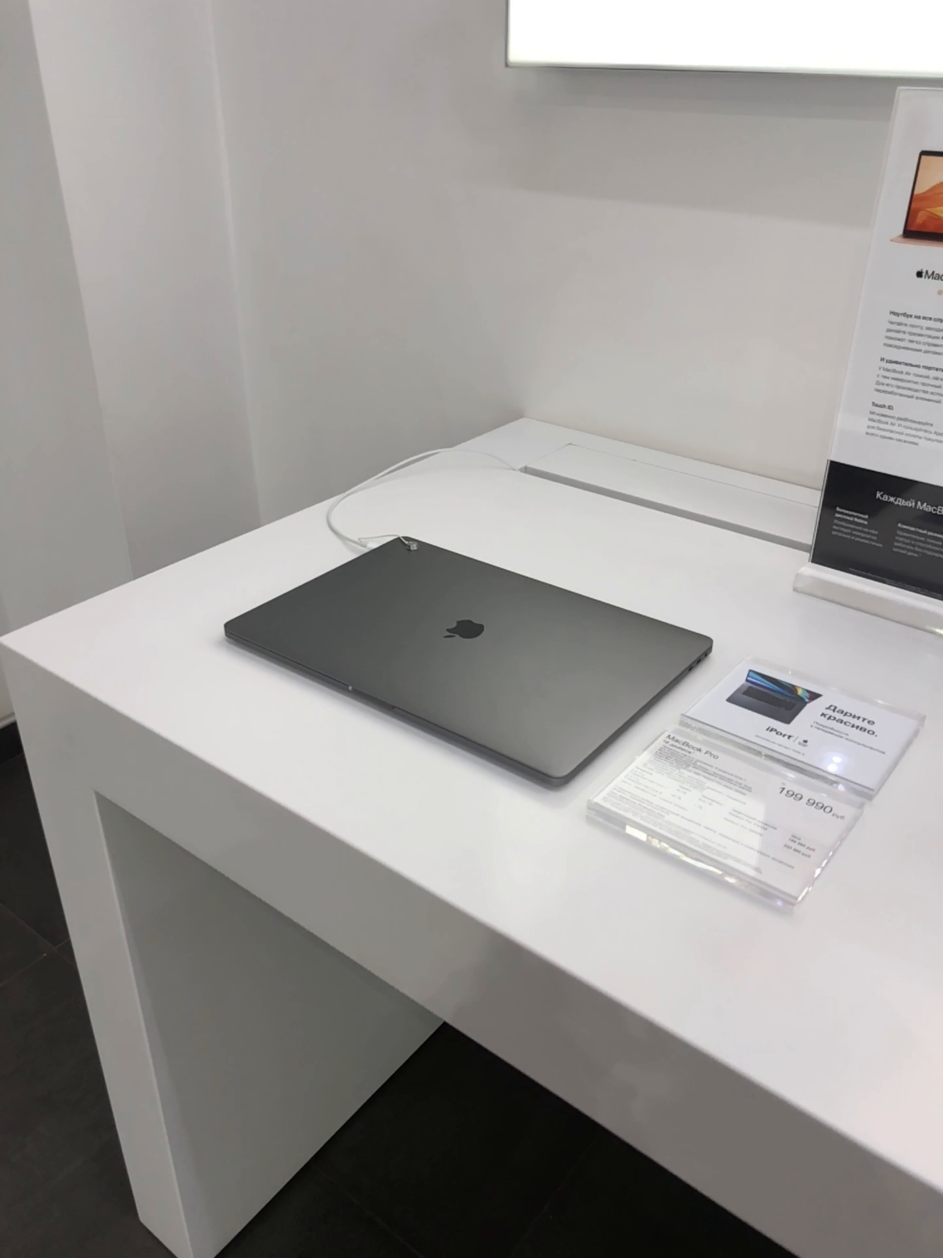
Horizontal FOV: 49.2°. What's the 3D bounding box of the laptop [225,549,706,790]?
[{"bbox_3d":[-0.008,0.014,0.886,0.345,0.003,0.232,20,35,32],"label":"laptop"}]
